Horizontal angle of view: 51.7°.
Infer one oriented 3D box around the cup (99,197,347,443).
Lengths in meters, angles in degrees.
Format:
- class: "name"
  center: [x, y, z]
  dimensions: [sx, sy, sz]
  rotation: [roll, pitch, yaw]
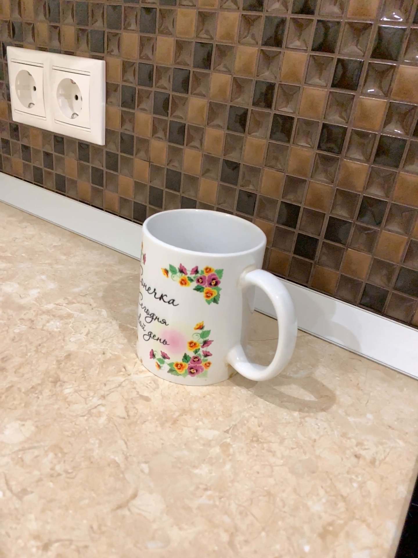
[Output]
- class: "cup"
  center: [0.004, 0.014, 0.284]
  dimensions: [0.123, 0.093, 0.091]
  rotation: [25, 32, 31]
